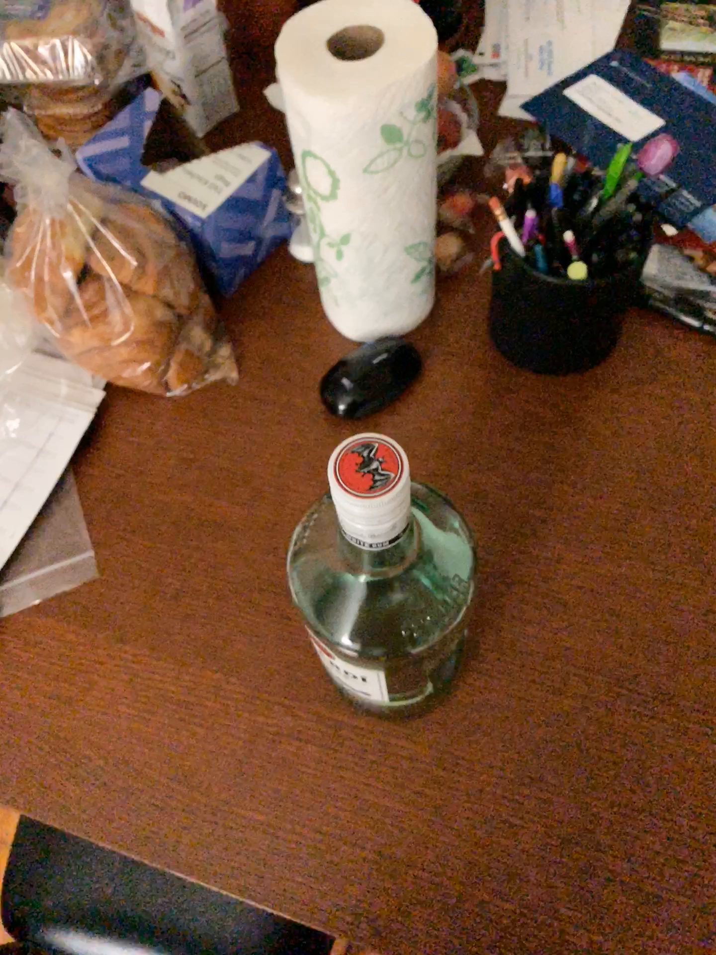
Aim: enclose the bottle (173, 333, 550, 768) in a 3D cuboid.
[{"bbox_3d":[0.012,0.078,0.478,0.120,0.329,0.120,-2,63,4],"label":"bottle"}]
